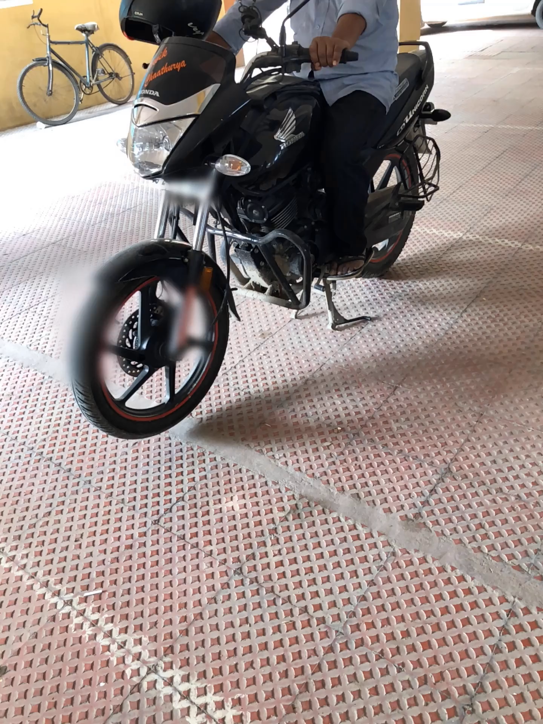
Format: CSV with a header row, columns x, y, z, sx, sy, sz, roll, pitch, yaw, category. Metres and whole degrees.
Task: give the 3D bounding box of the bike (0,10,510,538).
x,y,z,sx,sy,sz,roll,pitch,yaw,category
0.031,-0.525,2.135,0.786,1.009,1.894,20,43,34,bike
